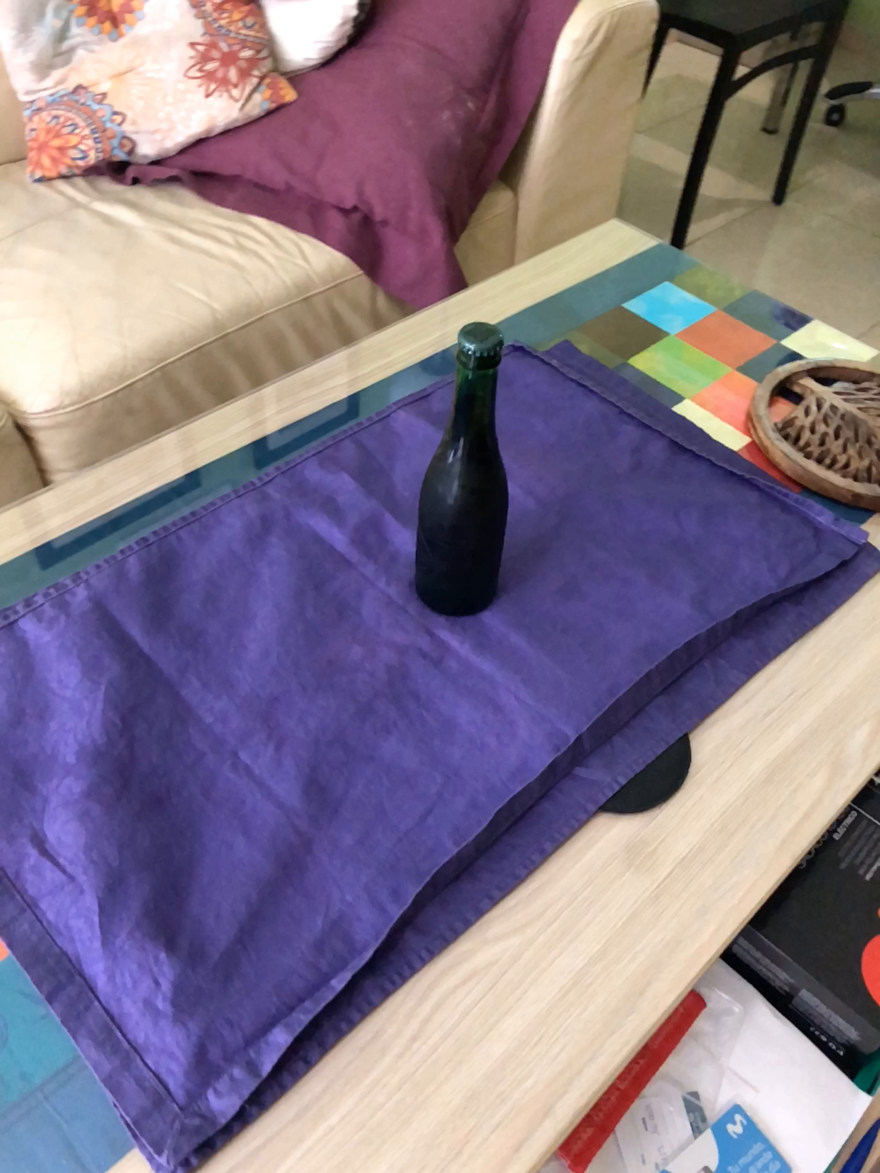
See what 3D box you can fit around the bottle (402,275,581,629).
[{"bbox_3d":[0.025,-0.080,0.640,0.070,0.219,0.080,-15,50,-17],"label":"bottle"}]
